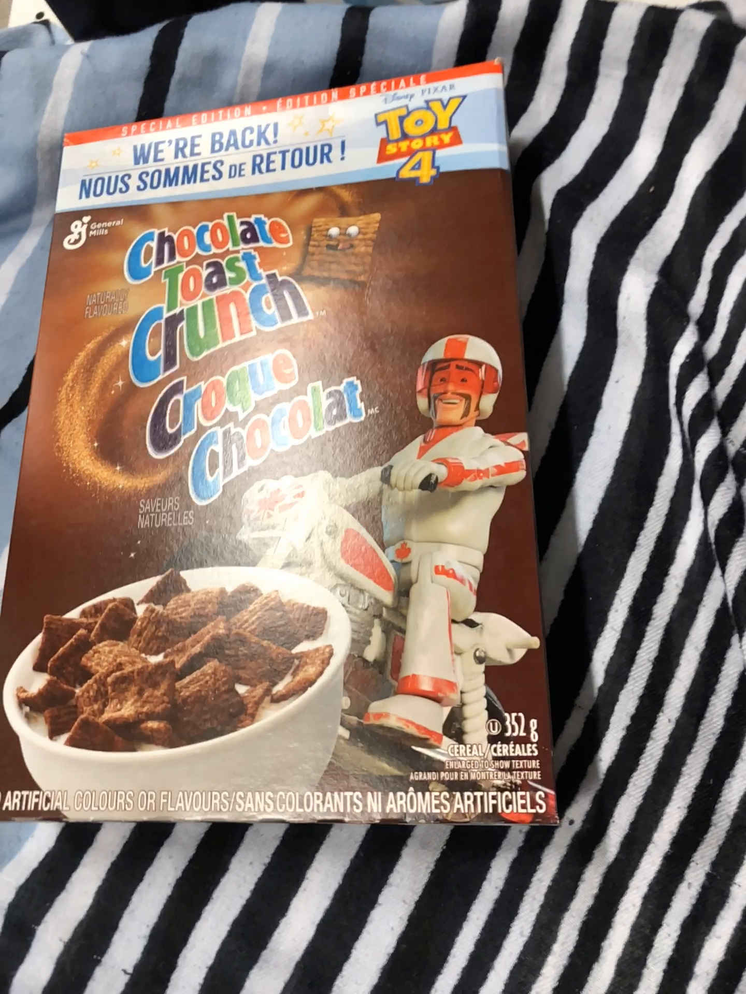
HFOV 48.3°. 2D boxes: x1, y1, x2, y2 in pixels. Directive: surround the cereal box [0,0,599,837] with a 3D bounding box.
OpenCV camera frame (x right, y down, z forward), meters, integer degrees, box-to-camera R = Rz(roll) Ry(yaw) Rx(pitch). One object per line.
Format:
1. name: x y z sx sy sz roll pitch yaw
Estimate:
1. cereal box: -0.037 -0.032 0.327 0.210 0.060 0.300 -5 73 10
